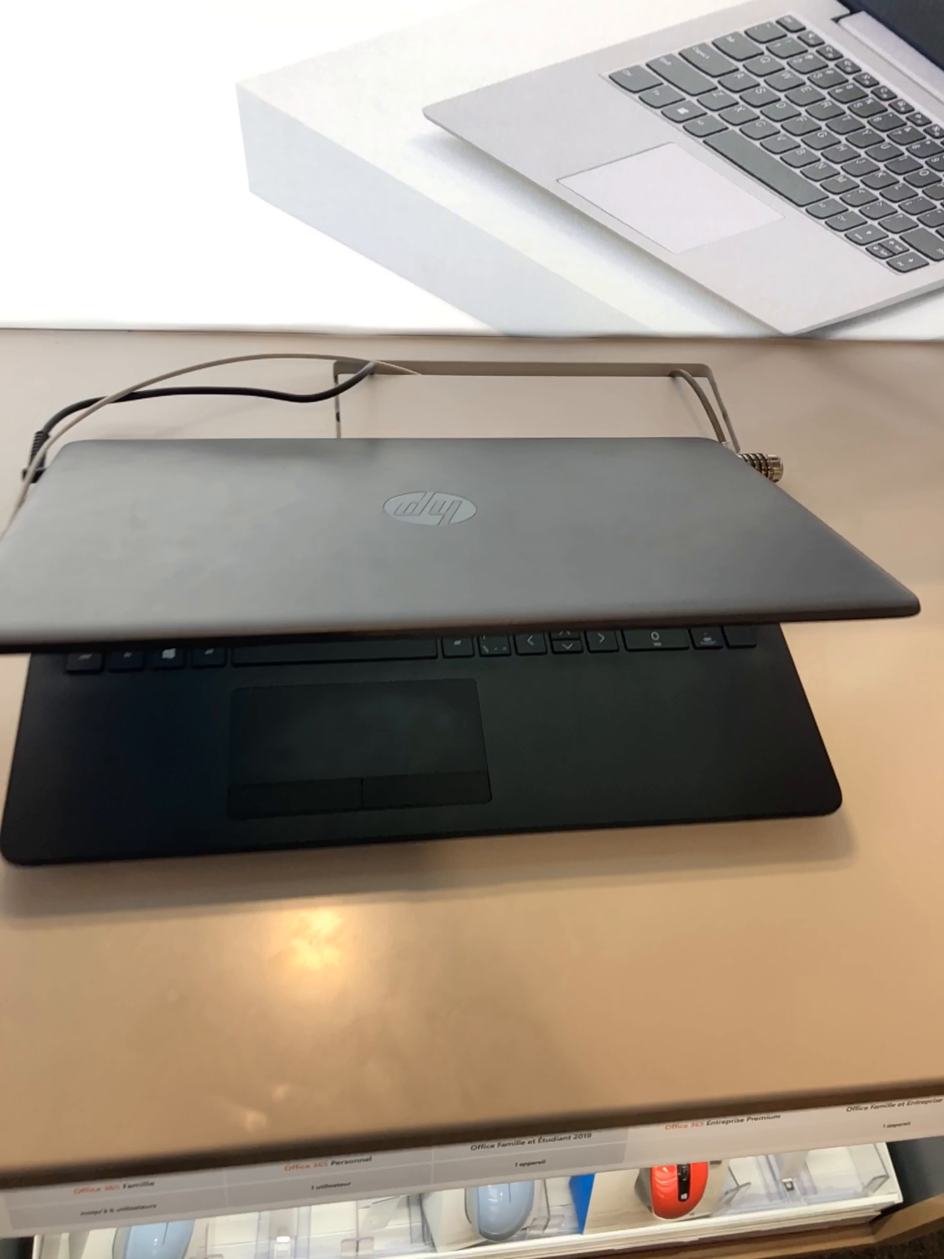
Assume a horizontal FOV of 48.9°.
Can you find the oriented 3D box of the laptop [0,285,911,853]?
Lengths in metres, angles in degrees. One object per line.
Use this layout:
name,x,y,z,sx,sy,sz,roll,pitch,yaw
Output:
laptop,-0.026,-0.039,0.483,0.351,0.107,0.239,-1,53,-8
